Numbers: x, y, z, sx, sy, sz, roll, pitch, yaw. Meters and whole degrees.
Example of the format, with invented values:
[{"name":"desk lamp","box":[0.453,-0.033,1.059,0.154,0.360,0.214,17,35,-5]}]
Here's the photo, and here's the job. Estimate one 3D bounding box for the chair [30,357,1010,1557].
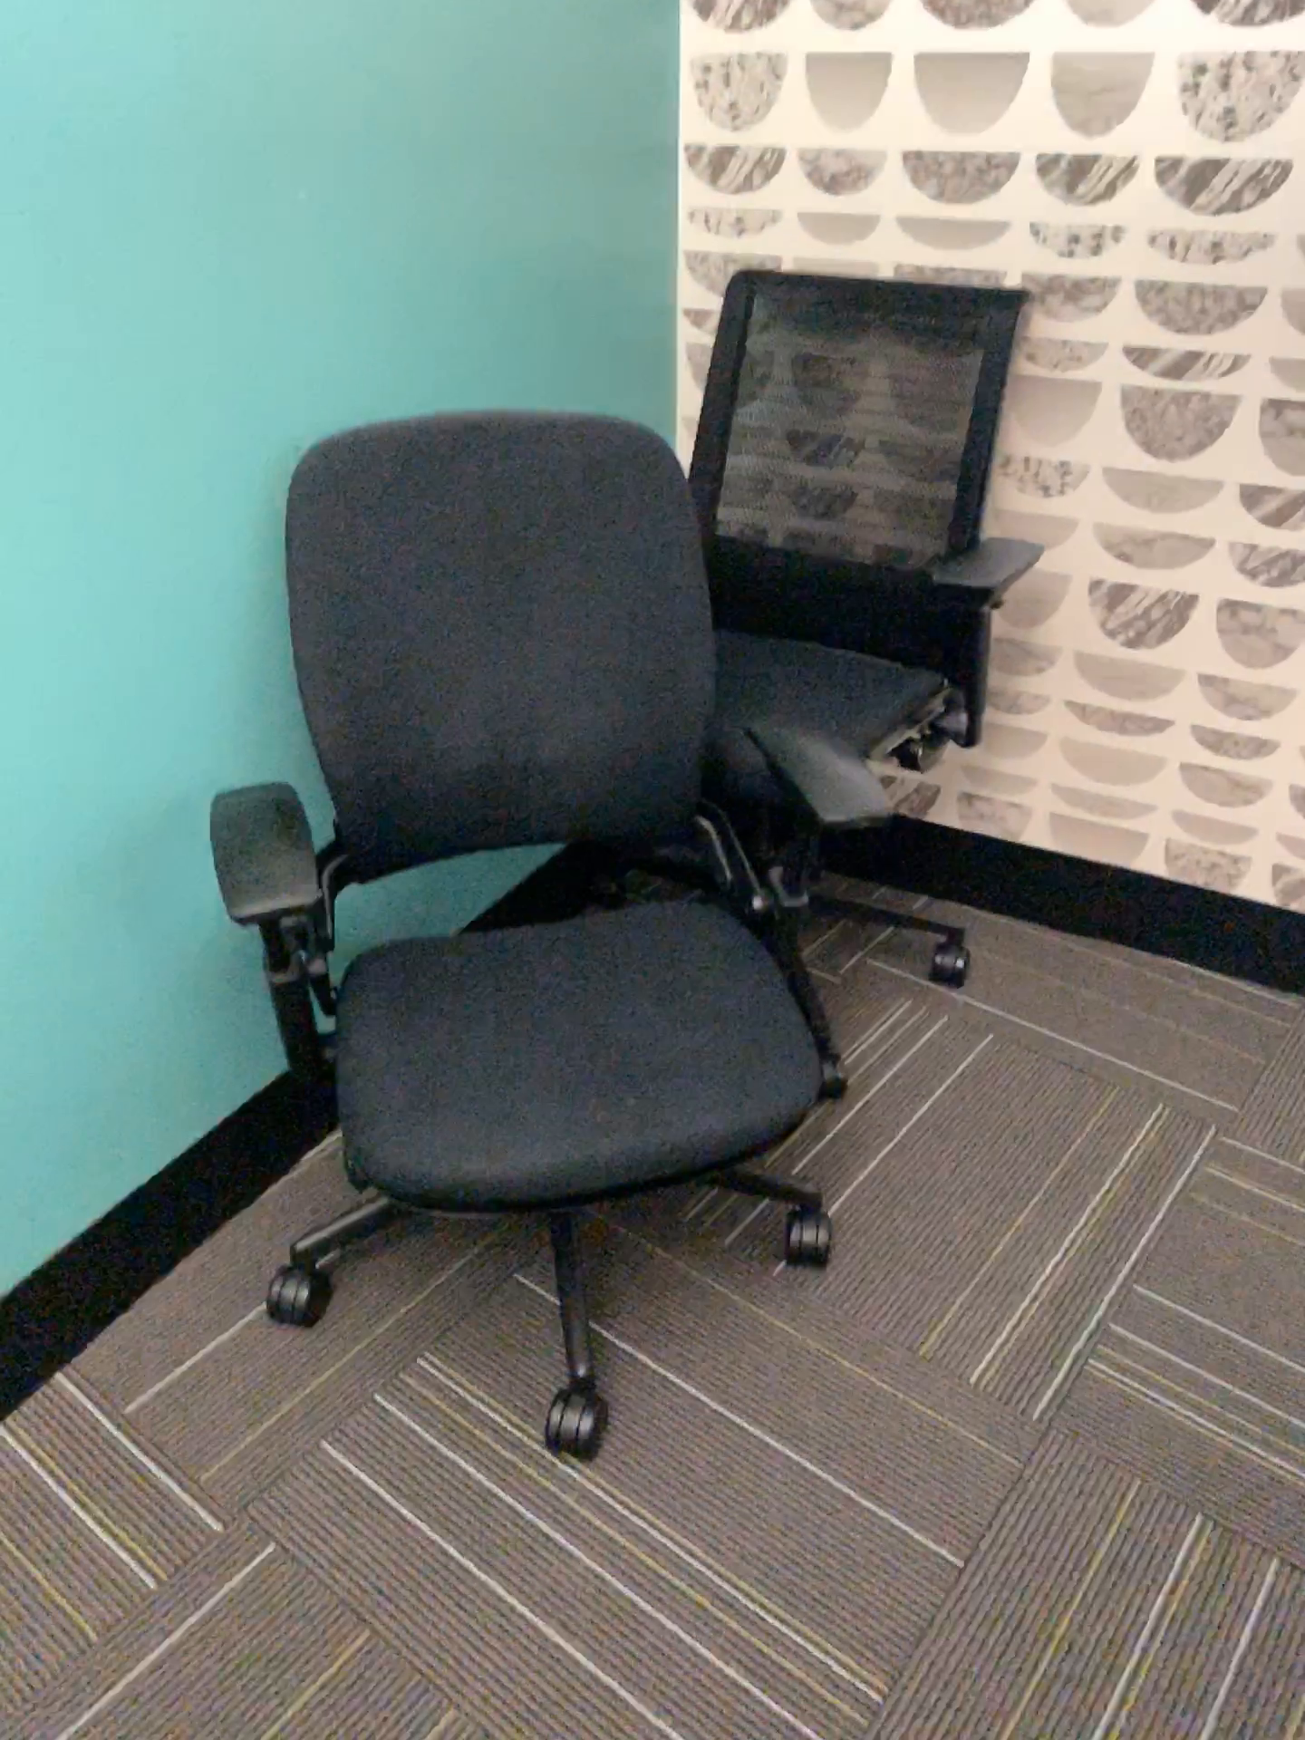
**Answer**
[{"name":"chair","box":[-0.157,0.024,1.450,0.660,0.944,0.775,-7,31,-12]}]
